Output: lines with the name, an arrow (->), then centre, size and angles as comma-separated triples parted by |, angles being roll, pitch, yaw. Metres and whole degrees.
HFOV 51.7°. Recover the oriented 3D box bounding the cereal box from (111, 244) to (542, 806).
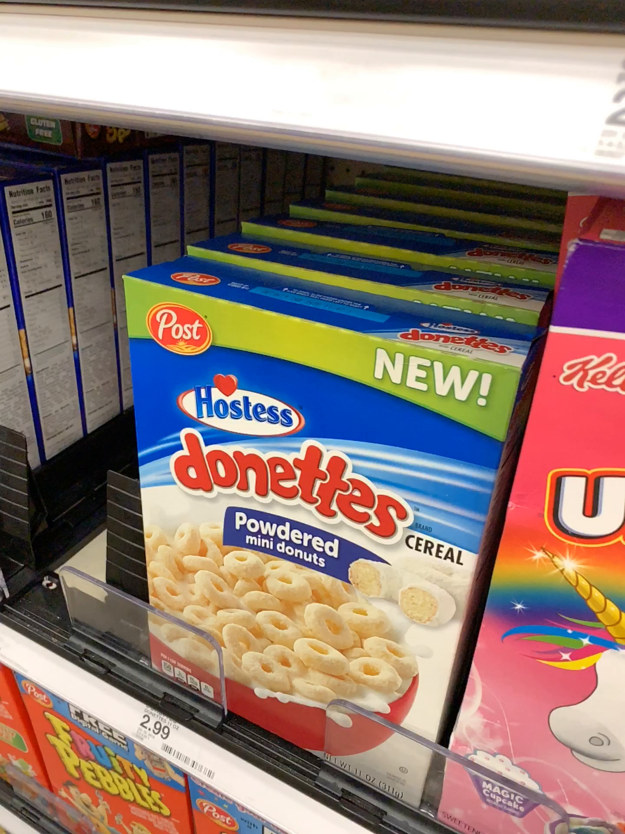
cereal box -> -0.006, 0.061, 0.357 | 0.190, 0.269, 0.060 | 17, 31, 22
